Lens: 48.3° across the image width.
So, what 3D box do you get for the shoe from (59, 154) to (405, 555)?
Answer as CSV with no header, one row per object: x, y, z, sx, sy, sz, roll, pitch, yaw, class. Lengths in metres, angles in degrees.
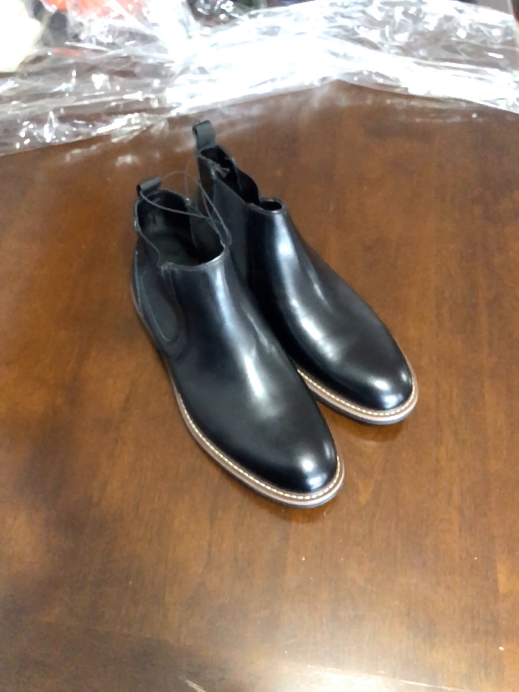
-0.035,0.004,0.516,0.120,0.170,0.300,-31,63,-17,shoe

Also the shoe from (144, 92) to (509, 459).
0.043,-0.068,0.545,0.120,0.170,0.300,-37,65,-20,shoe
